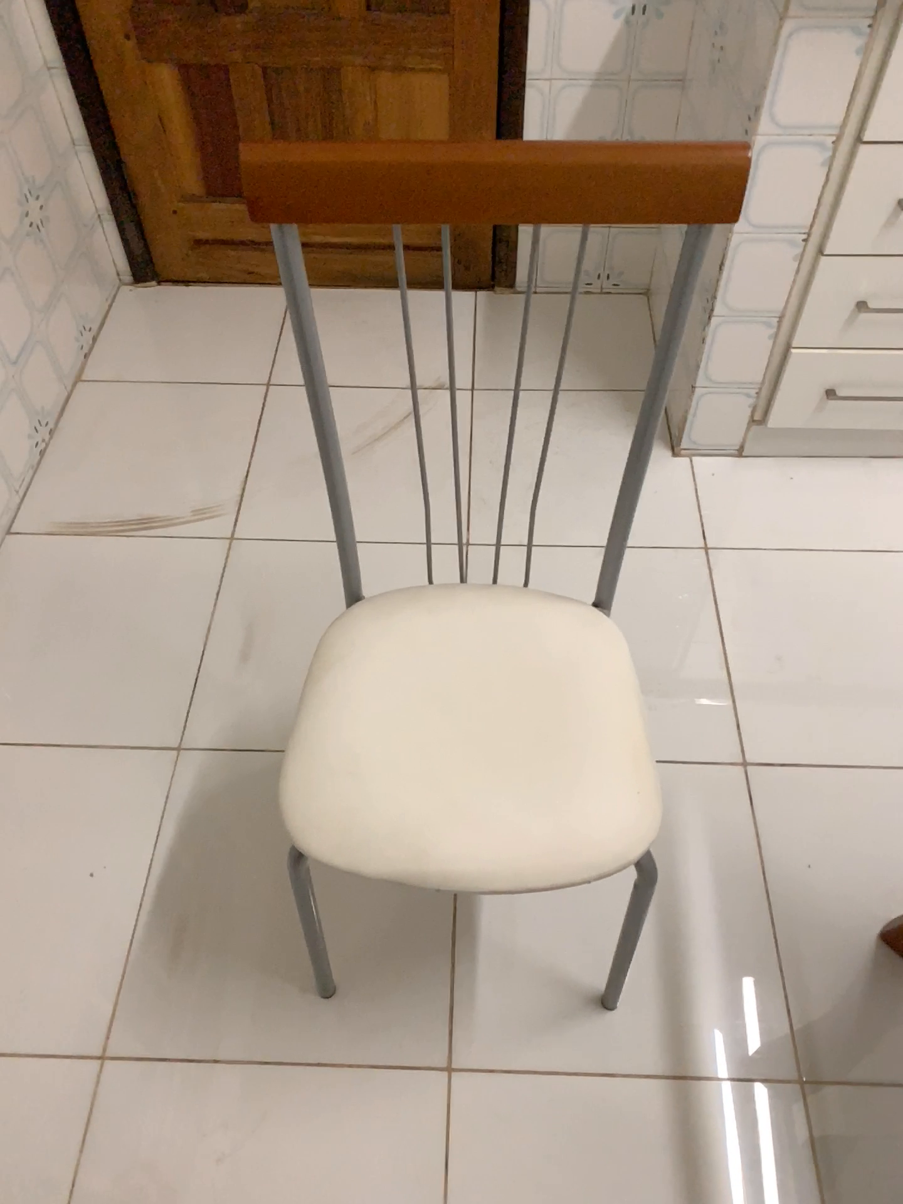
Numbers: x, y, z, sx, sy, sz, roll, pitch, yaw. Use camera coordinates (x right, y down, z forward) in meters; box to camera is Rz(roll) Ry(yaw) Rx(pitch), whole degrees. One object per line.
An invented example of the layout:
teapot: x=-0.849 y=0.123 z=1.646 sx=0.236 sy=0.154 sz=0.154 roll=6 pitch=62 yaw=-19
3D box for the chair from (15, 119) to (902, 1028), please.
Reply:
chair: x=0.029 y=0.062 z=0.979 sx=0.480 sy=0.886 sz=0.512 roll=2 pitch=53 yaw=2
